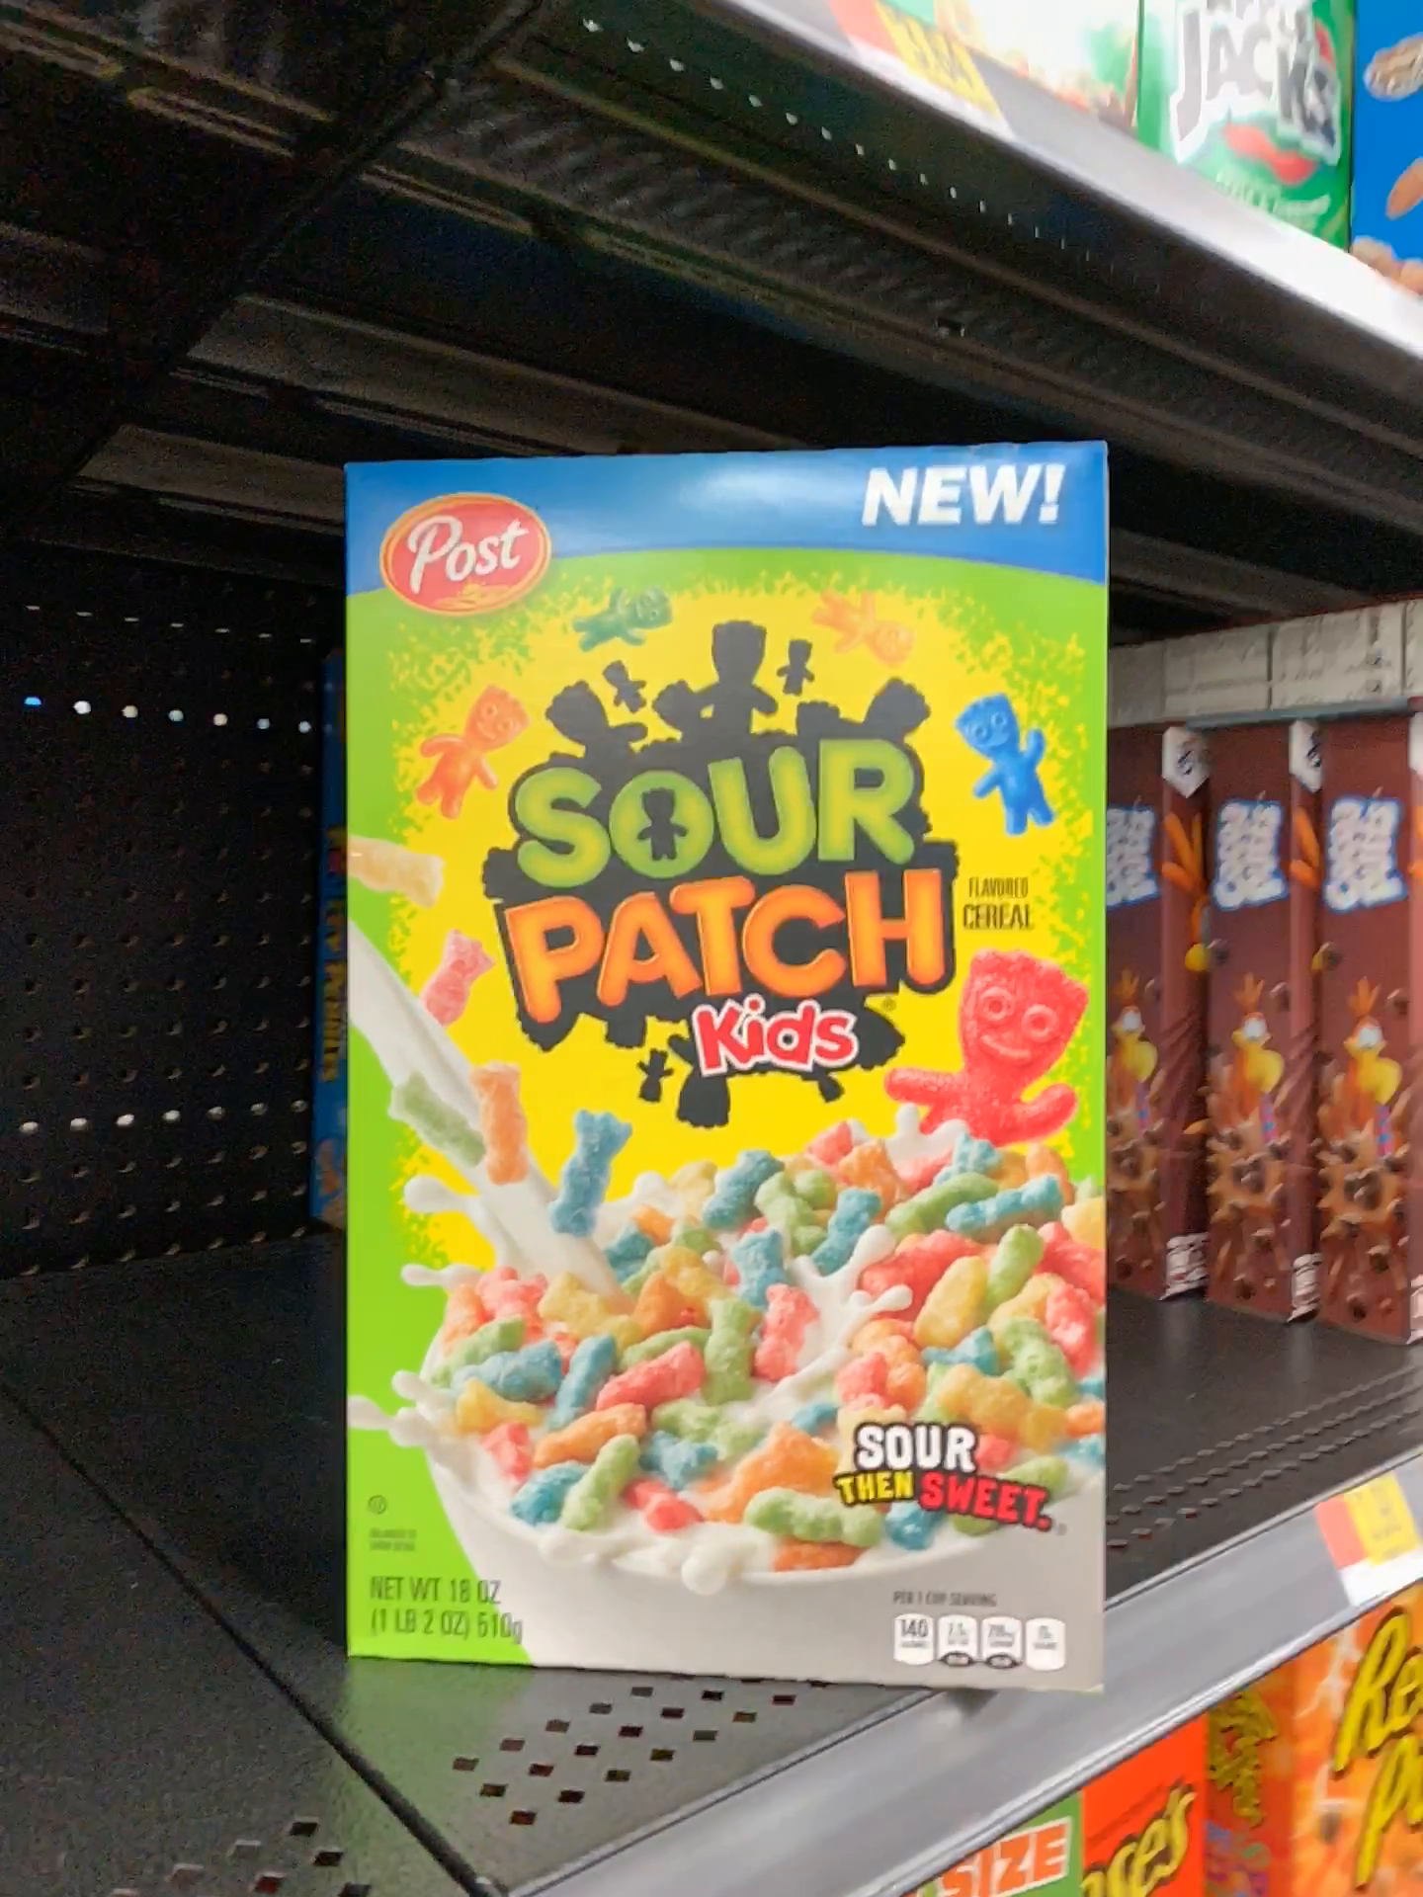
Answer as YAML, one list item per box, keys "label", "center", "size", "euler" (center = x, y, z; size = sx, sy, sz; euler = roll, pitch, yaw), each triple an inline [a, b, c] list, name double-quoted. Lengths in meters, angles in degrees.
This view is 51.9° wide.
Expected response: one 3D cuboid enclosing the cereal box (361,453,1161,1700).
- label: "cereal box"
  center: [0.013, 0.030, 0.411]
  size: [0.200, 0.310, 0.080]
  euler: [1, 1, 5]
